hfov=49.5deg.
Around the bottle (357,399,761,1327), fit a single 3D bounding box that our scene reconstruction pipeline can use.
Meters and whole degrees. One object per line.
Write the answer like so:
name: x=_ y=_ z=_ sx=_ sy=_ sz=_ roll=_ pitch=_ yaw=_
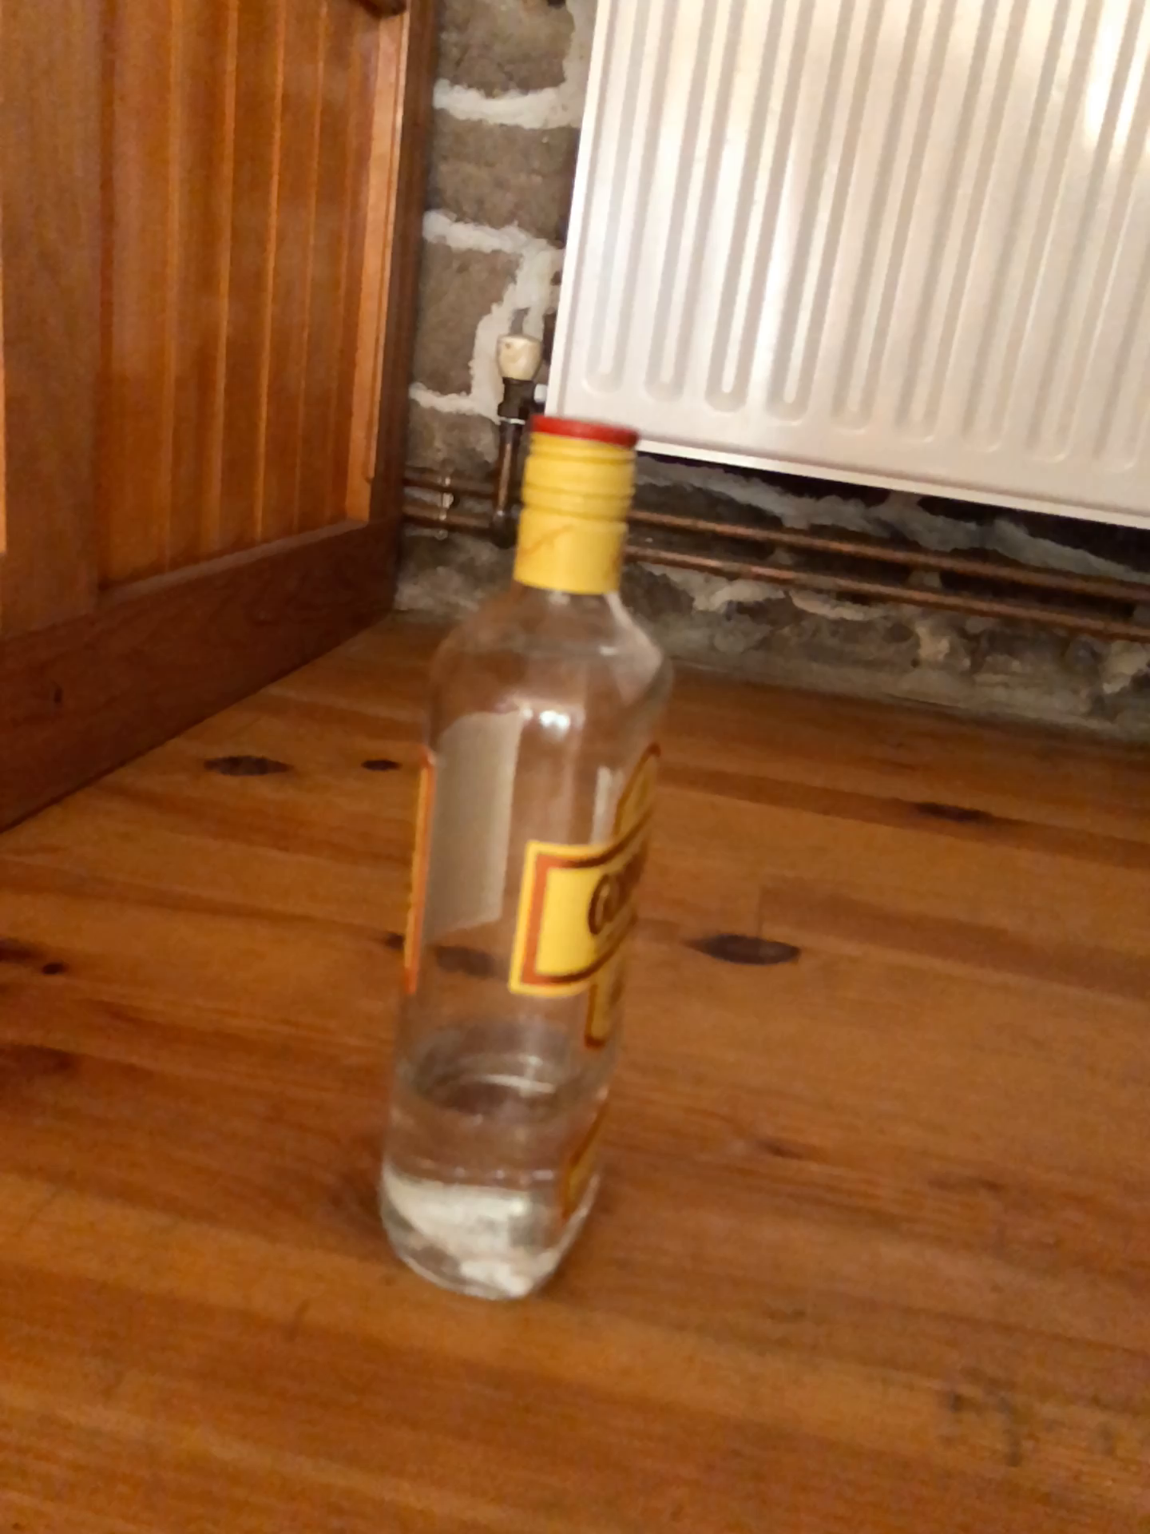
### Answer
bottle: x=-0.005 y=0.023 z=0.357 sx=0.060 sy=0.239 sz=0.090 roll=13 pitch=18 yaw=14
